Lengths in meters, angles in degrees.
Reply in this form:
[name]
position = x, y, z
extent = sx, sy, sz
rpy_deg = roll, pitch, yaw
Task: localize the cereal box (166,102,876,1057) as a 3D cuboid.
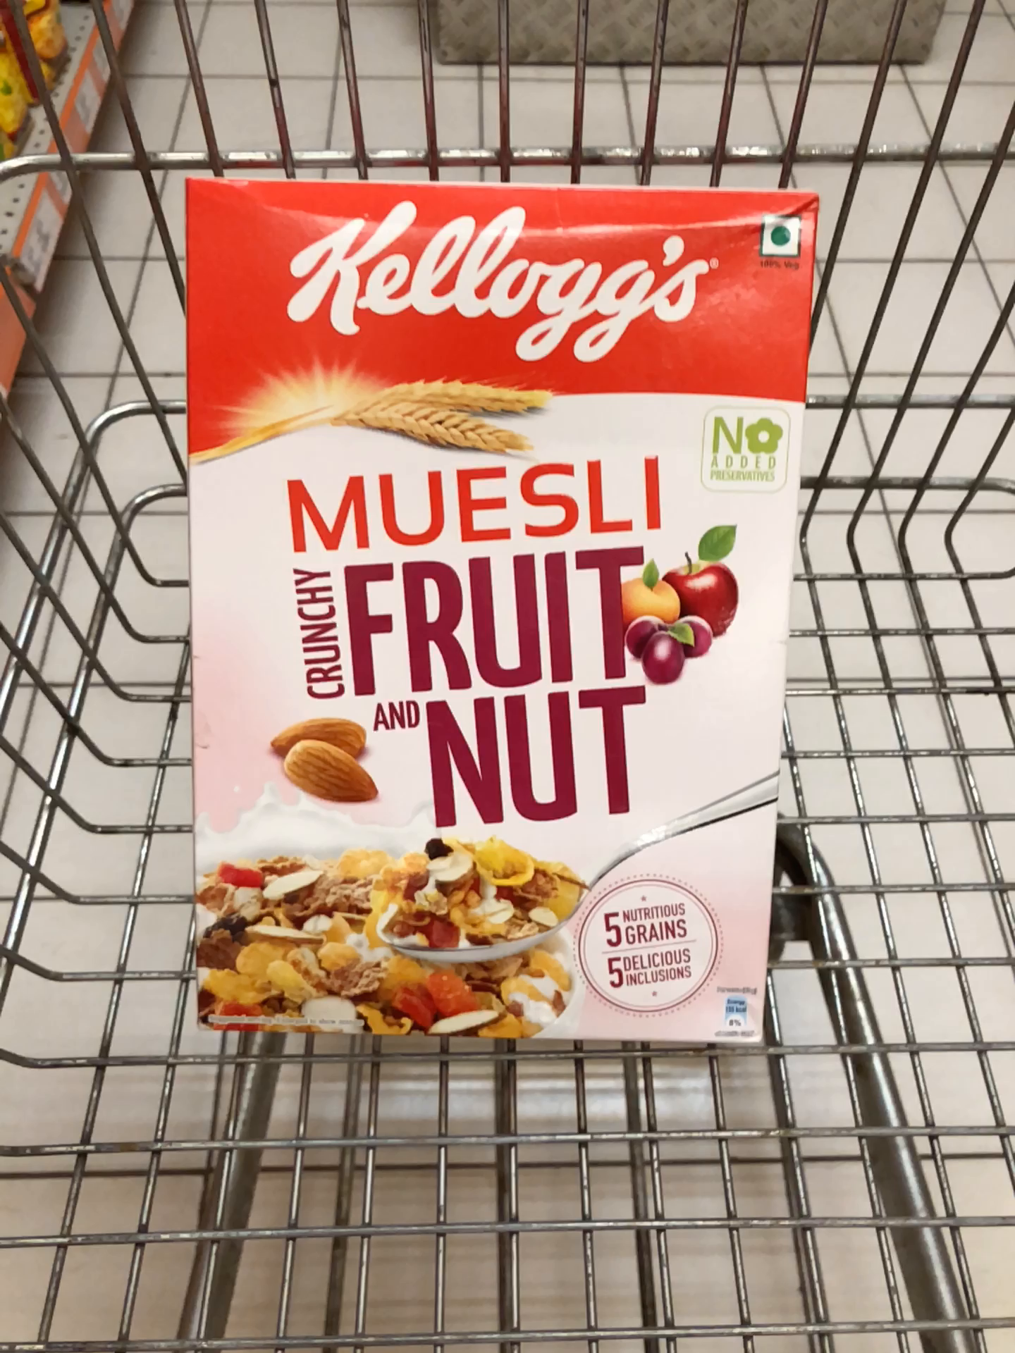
[cereal box]
position = -0.002, -0.025, 0.362
extent = 0.190, 0.070, 0.269
rpy_deg = 2, 101, 0
